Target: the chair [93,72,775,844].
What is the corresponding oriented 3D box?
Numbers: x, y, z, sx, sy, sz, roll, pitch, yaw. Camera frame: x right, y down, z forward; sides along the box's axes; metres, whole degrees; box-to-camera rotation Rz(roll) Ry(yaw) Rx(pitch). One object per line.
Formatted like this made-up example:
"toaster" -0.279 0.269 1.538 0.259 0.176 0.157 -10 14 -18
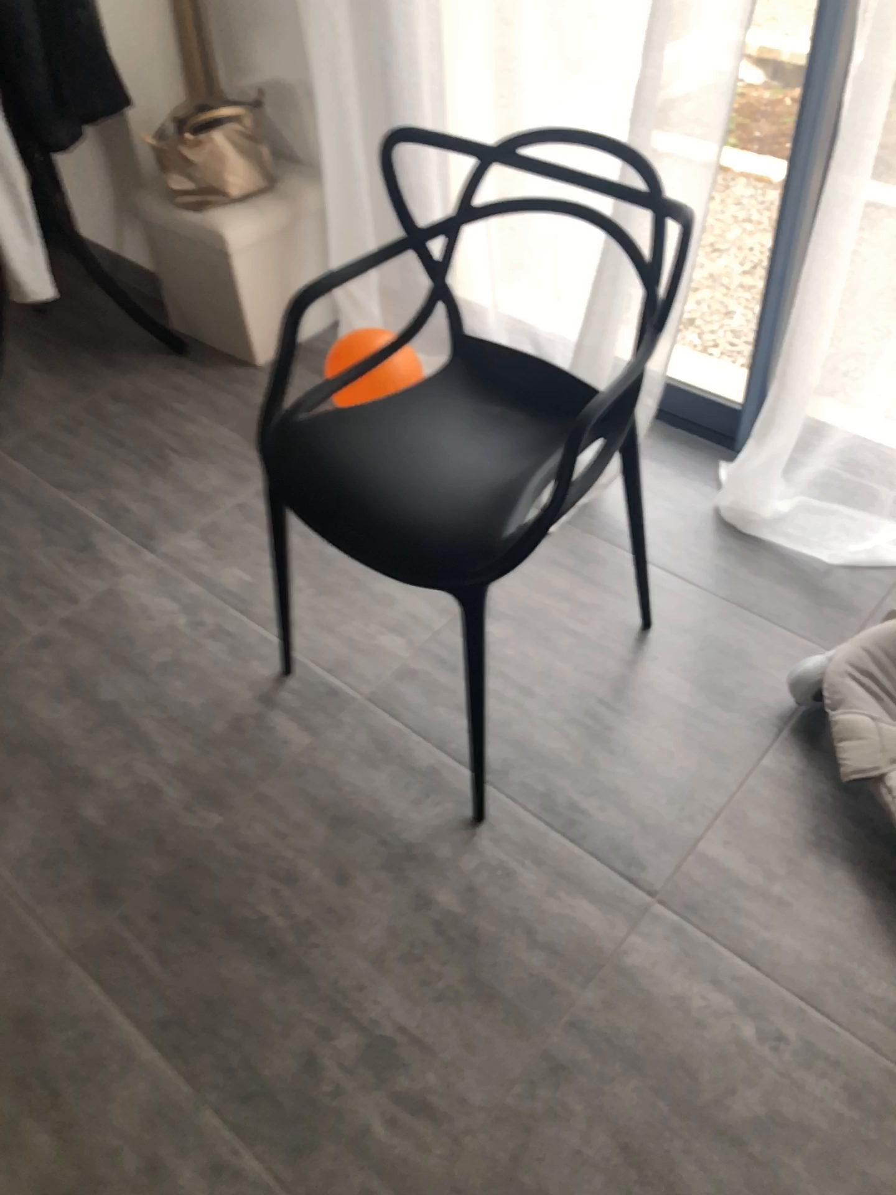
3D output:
"chair" 0.002 -0.209 1.448 0.564 0.795 0.588 33 55 31
